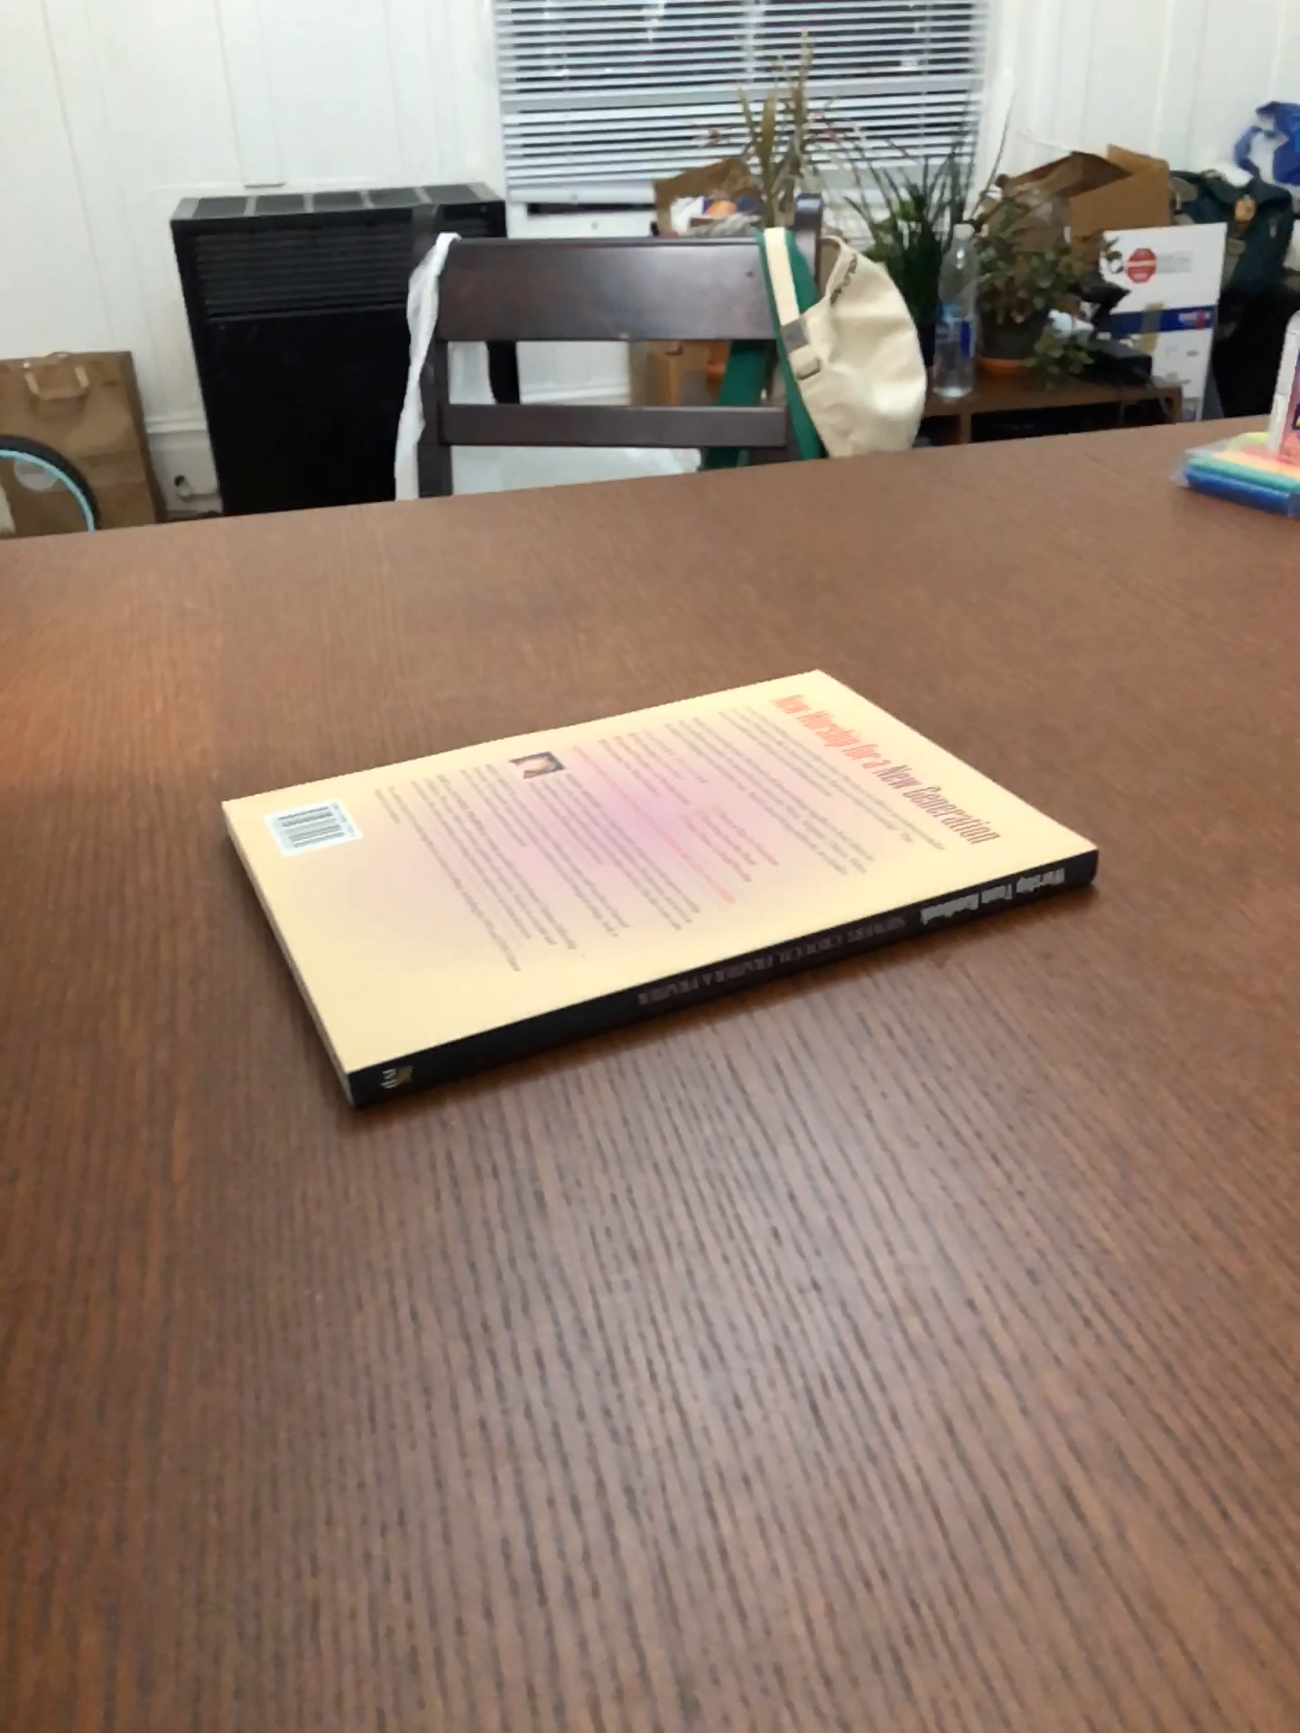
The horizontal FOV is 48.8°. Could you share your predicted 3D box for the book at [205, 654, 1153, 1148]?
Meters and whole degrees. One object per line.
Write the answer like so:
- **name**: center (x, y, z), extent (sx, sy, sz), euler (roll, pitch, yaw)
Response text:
- **book**: center (0.001, -0.009, 0.498), extent (0.270, 0.020, 0.191), euler (-15, 32, -21)
